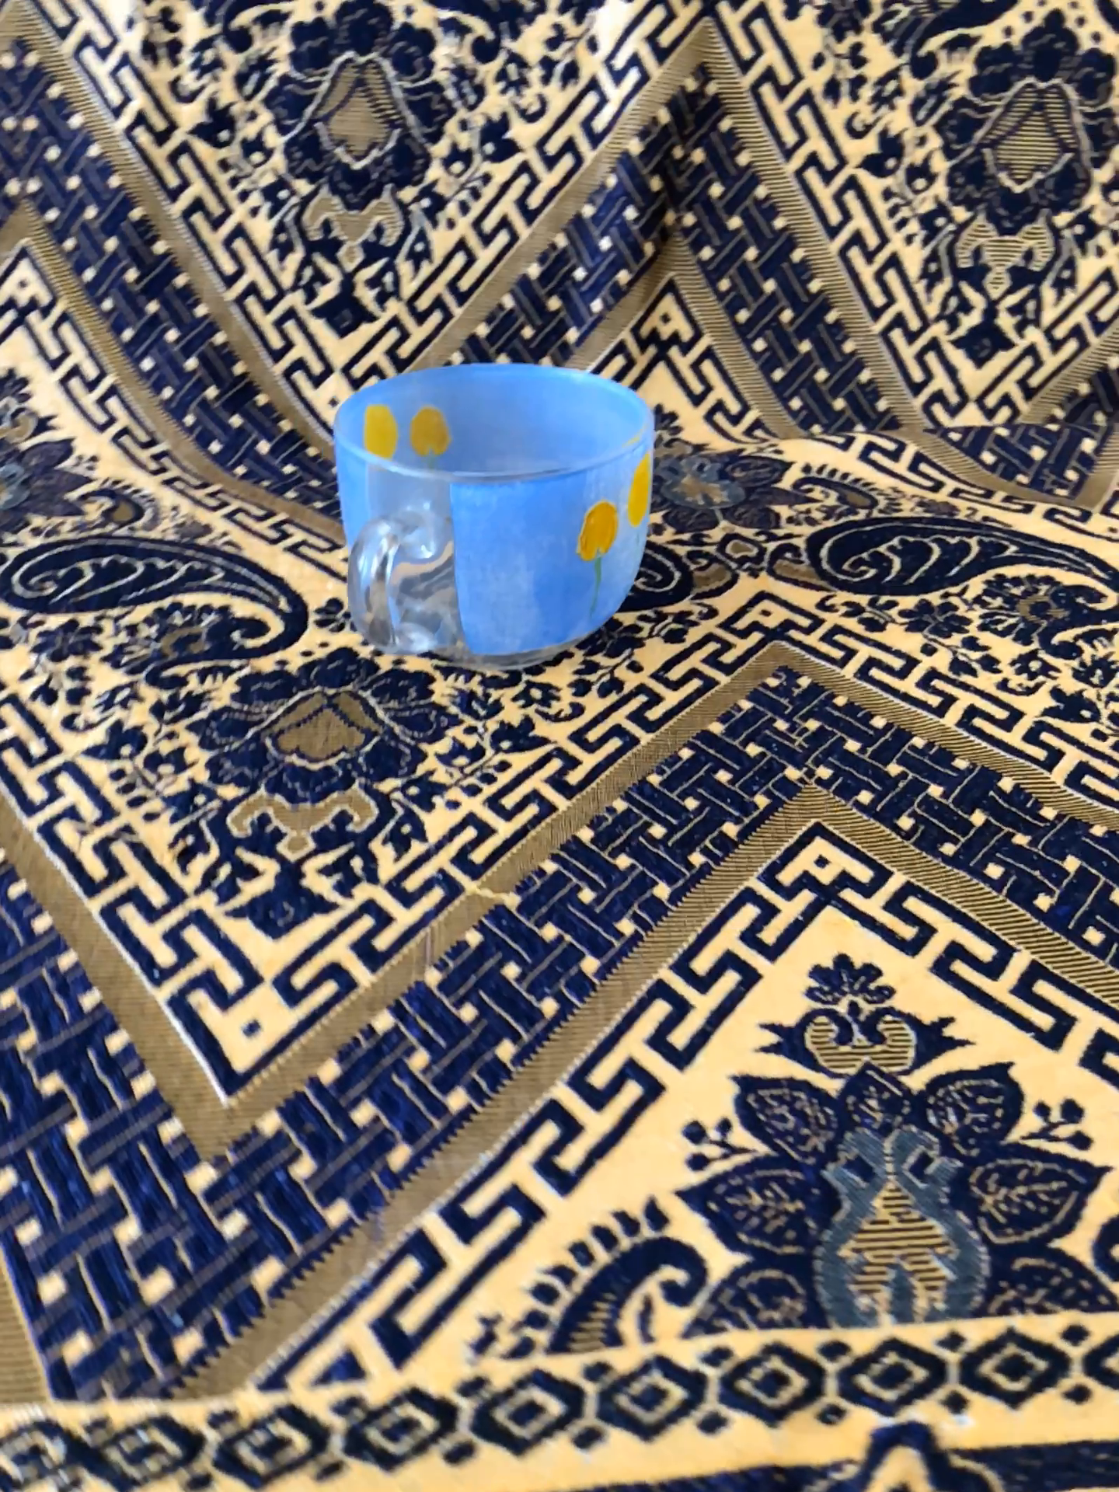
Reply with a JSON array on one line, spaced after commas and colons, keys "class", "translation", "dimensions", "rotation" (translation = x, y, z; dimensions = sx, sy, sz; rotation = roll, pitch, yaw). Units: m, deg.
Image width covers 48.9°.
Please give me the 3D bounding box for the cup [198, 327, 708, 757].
[{"class": "cup", "translation": [-0.030, -0.078, 0.422], "dimensions": [0.108, 0.072, 0.139], "rotation": [20, 40, 21]}]
